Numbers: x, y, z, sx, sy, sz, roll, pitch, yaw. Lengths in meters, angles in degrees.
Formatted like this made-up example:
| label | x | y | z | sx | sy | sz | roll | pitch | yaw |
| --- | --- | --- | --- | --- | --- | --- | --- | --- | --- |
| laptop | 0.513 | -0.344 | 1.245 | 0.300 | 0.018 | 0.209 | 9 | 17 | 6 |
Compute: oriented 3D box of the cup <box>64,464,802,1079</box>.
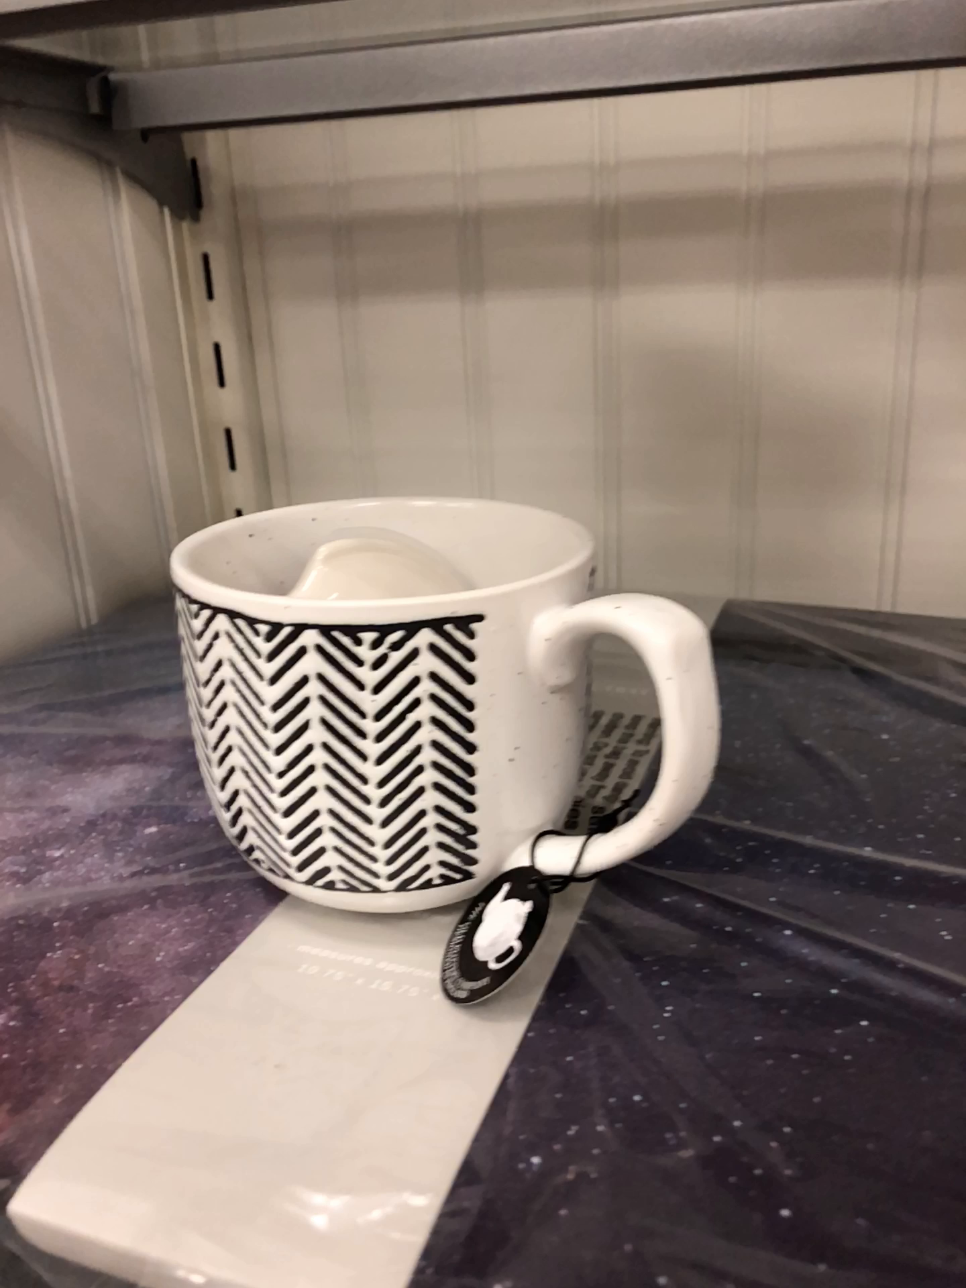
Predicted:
| label | x | y | z | sx | sy | sz | roll | pitch | yaw |
| --- | --- | --- | --- | --- | --- | --- | --- | --- | --- |
| cup | -0.013 | 0.012 | 0.251 | 0.140 | 0.079 | 0.090 | 14 | 26 | 39 |
